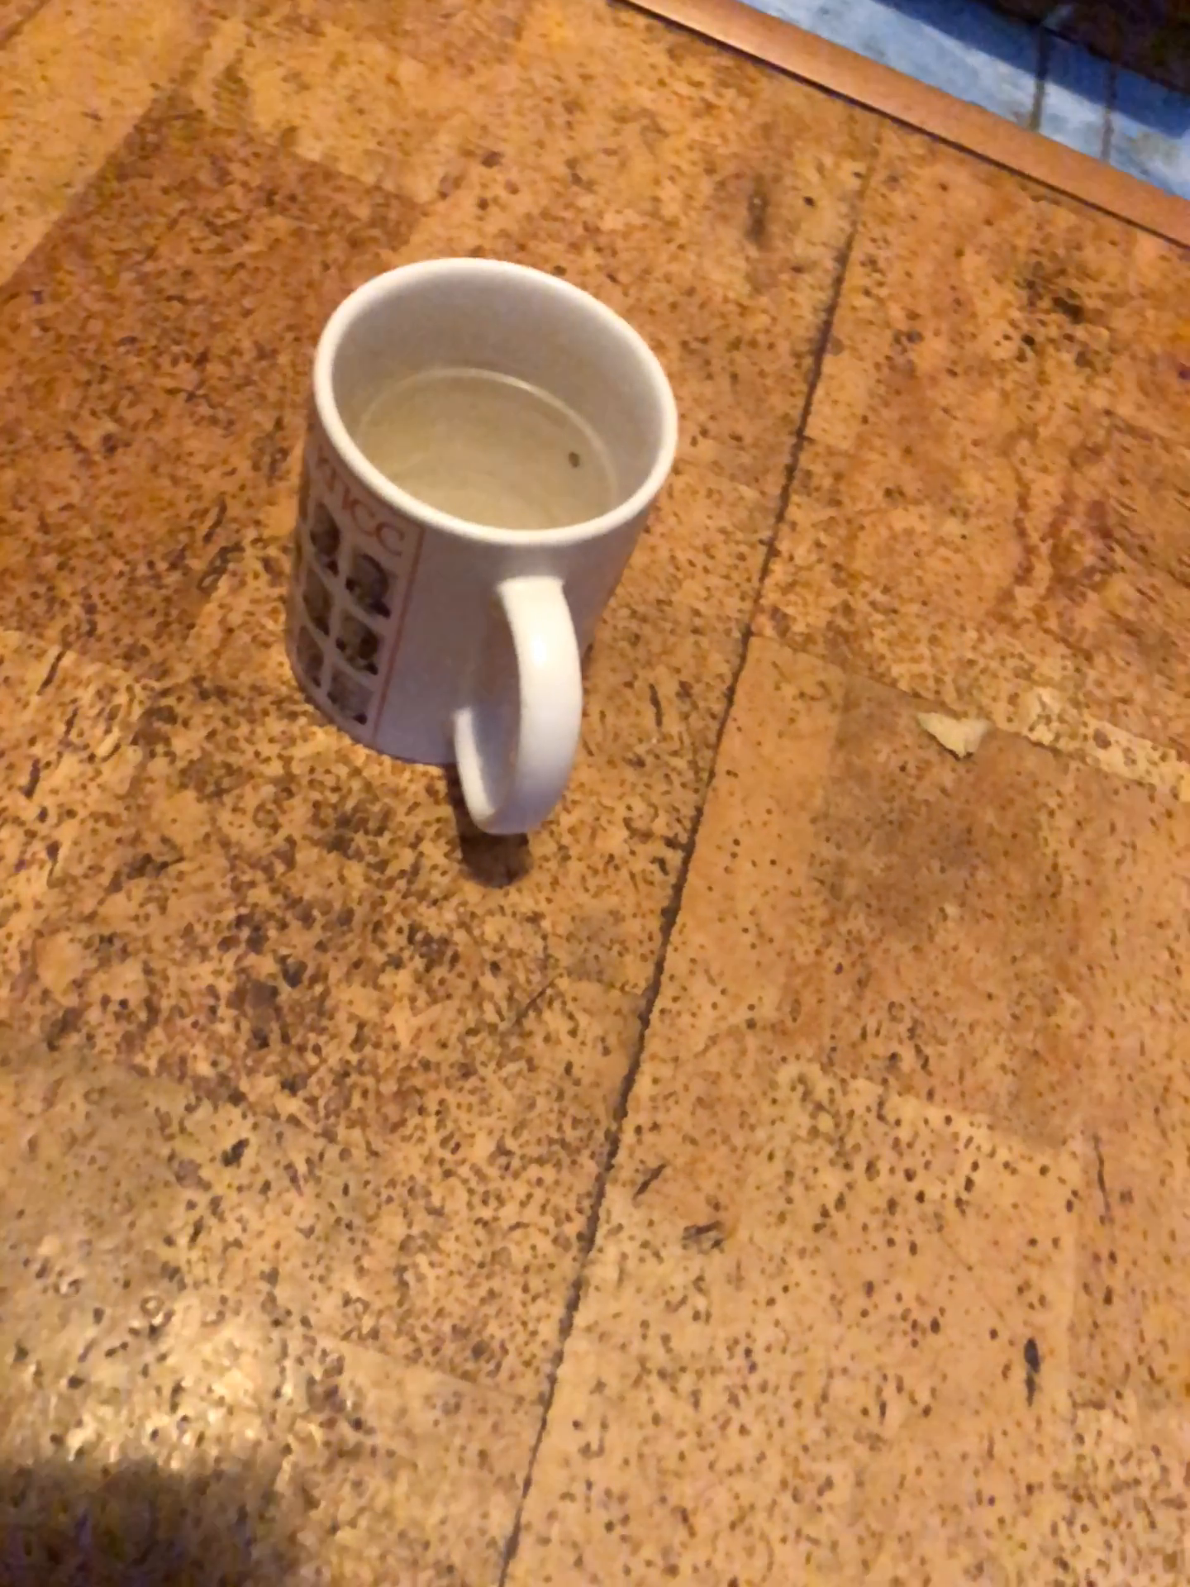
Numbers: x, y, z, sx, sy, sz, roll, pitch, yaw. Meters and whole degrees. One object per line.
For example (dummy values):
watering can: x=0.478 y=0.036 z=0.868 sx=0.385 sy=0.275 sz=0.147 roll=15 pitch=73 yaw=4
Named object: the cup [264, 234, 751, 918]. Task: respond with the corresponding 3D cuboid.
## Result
cup: x=-0.031 y=-0.047 z=0.314 sx=0.082 sy=0.100 sz=0.119 roll=-1 pitch=63 yaw=-18
